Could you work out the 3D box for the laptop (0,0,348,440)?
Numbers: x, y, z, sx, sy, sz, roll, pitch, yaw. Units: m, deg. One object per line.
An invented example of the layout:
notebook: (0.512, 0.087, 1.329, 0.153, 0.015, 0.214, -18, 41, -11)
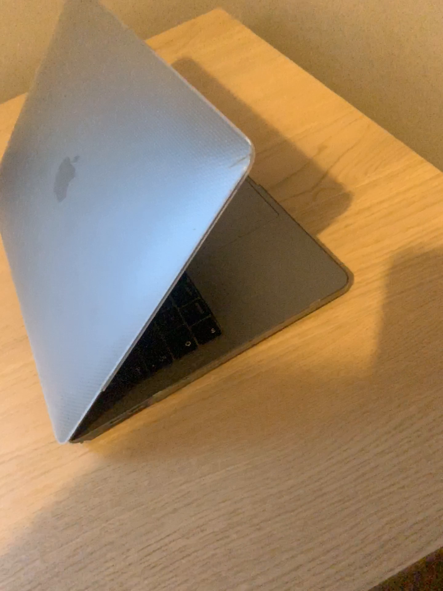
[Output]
laptop: (-0.087, -0.099, 0.340, 0.207, 0.127, 0.310, -28, 52, -9)
